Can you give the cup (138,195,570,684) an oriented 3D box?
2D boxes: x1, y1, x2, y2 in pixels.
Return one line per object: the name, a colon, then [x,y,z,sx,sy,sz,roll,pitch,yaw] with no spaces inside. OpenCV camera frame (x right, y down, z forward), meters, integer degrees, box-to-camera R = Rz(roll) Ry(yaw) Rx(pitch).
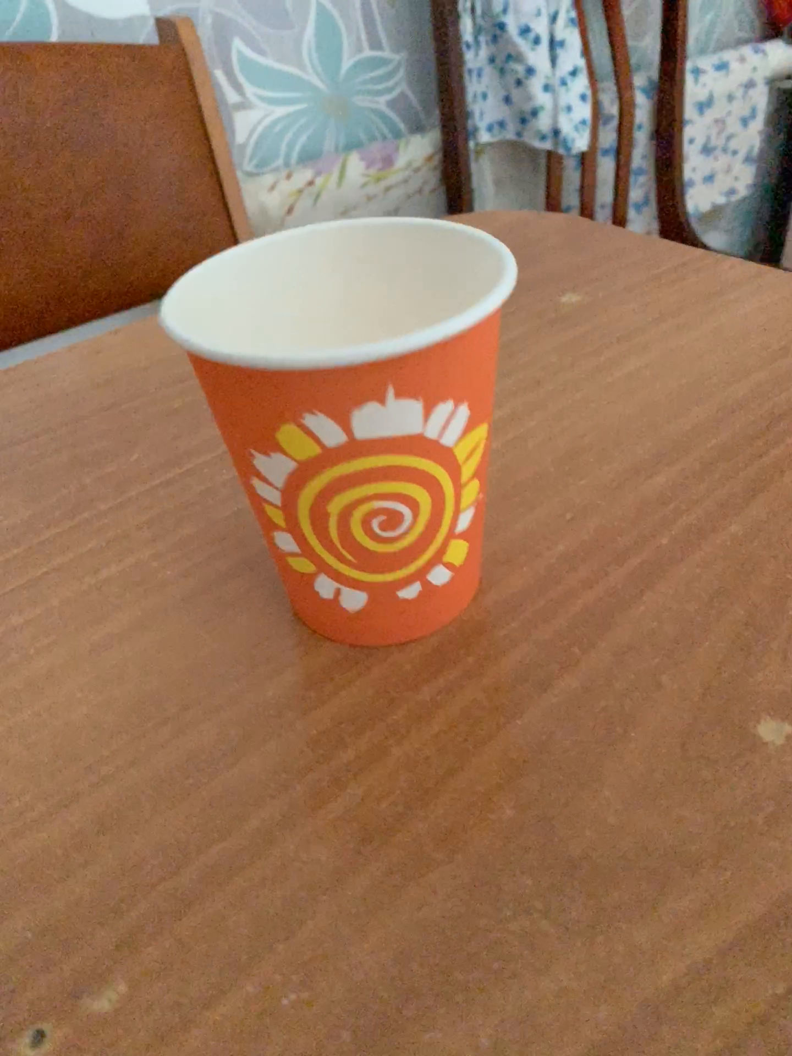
cup: [-0.009,-0.025,0.209,0.081,0.083,0.079,-4,38,3]
